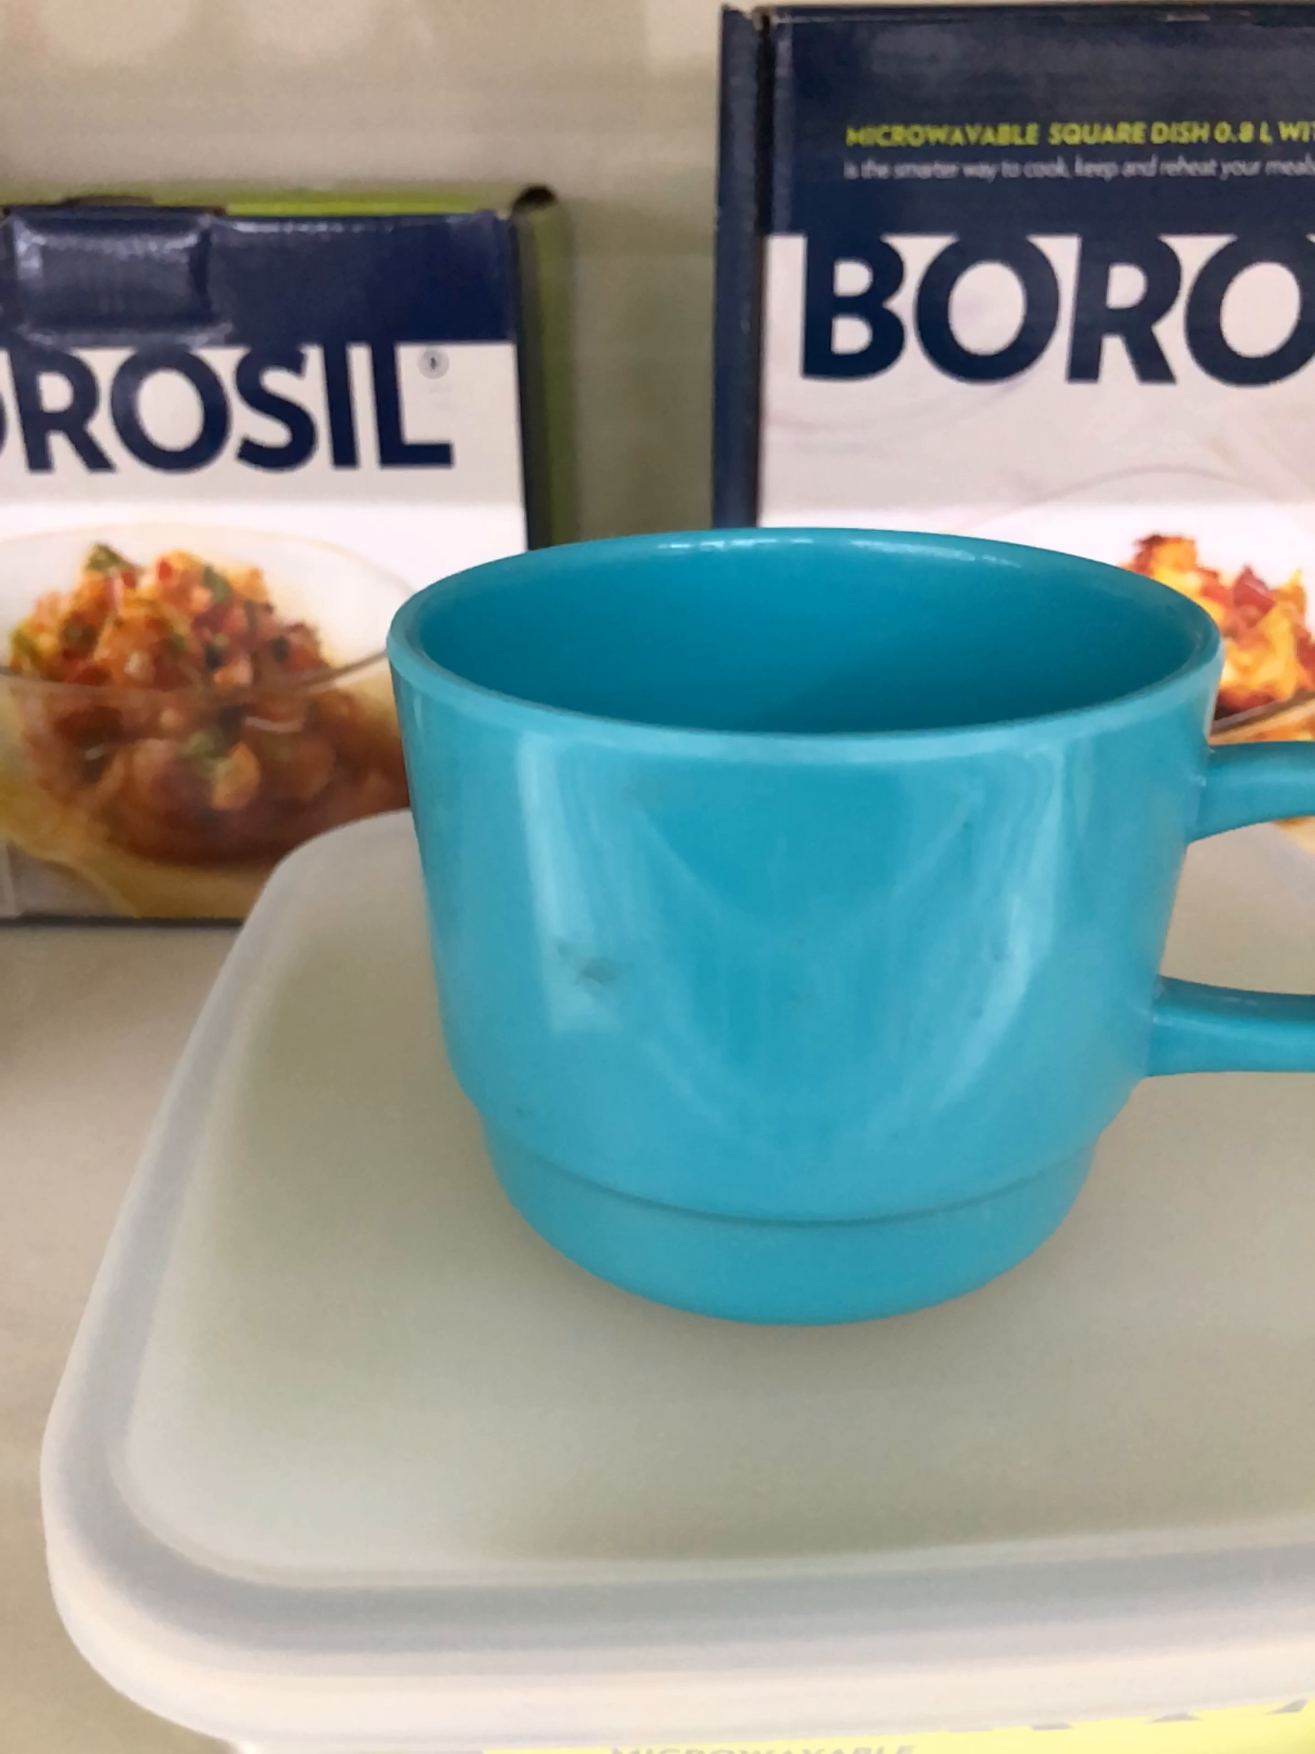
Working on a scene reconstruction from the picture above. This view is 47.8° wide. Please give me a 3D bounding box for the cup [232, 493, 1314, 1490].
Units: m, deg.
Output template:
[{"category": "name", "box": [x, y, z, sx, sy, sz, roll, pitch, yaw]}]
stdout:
[{"category": "cup", "box": [0.031, 0.001, 0.167, 0.120, 0.070, 0.091, 3, 24, 7]}]
